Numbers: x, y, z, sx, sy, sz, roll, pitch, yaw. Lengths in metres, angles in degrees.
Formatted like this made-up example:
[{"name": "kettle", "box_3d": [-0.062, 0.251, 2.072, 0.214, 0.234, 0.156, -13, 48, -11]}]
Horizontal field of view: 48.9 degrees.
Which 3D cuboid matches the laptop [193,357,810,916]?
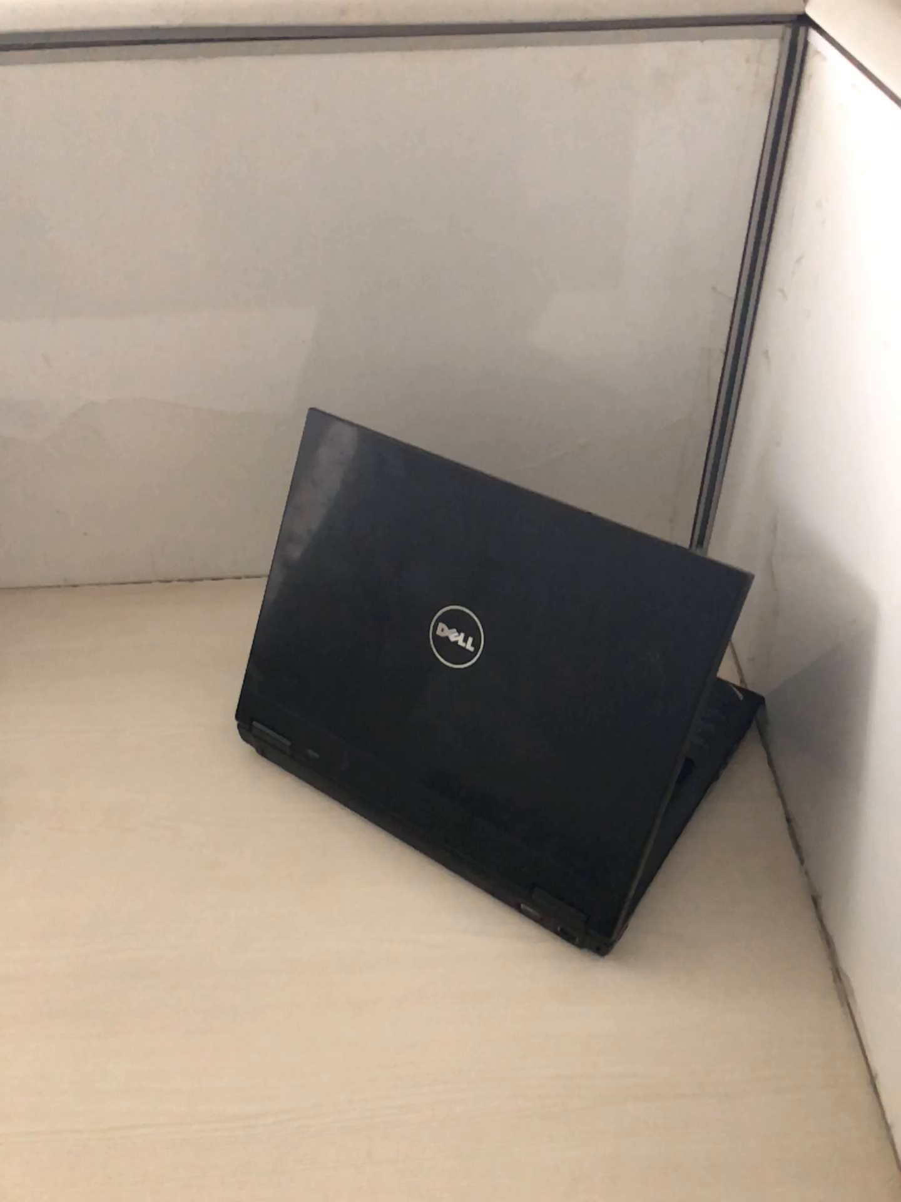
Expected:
[{"name": "laptop", "box_3d": [0.036, 0.003, 0.673, 0.304, 0.190, 0.230, 25, 46, 25]}]
